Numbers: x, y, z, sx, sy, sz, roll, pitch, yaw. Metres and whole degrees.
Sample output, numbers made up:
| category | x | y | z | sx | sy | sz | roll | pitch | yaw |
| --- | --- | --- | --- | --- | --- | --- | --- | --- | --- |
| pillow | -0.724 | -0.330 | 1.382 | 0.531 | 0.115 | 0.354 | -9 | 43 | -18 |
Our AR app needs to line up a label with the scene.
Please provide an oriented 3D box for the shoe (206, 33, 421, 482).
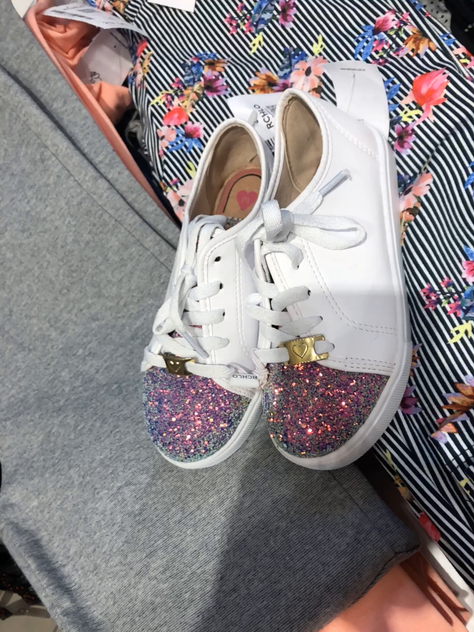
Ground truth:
| category | x | y | z | sx | sy | sz | roll | pitch | yaw |
| --- | --- | --- | --- | --- | --- | --- | --- | --- | --- |
| shoe | 0.045 | -0.025 | 0.275 | 0.080 | 0.070 | 0.200 | -2 | 77 | 31 |

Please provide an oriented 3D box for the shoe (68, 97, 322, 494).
| category | x | y | z | sx | sy | sz | roll | pitch | yaw |
| --- | --- | --- | --- | --- | --- | --- | --- | --- | --- |
| shoe | -0.017 | -0.012 | 0.293 | 0.080 | 0.070 | 0.190 | 8 | 81 | 25 |
